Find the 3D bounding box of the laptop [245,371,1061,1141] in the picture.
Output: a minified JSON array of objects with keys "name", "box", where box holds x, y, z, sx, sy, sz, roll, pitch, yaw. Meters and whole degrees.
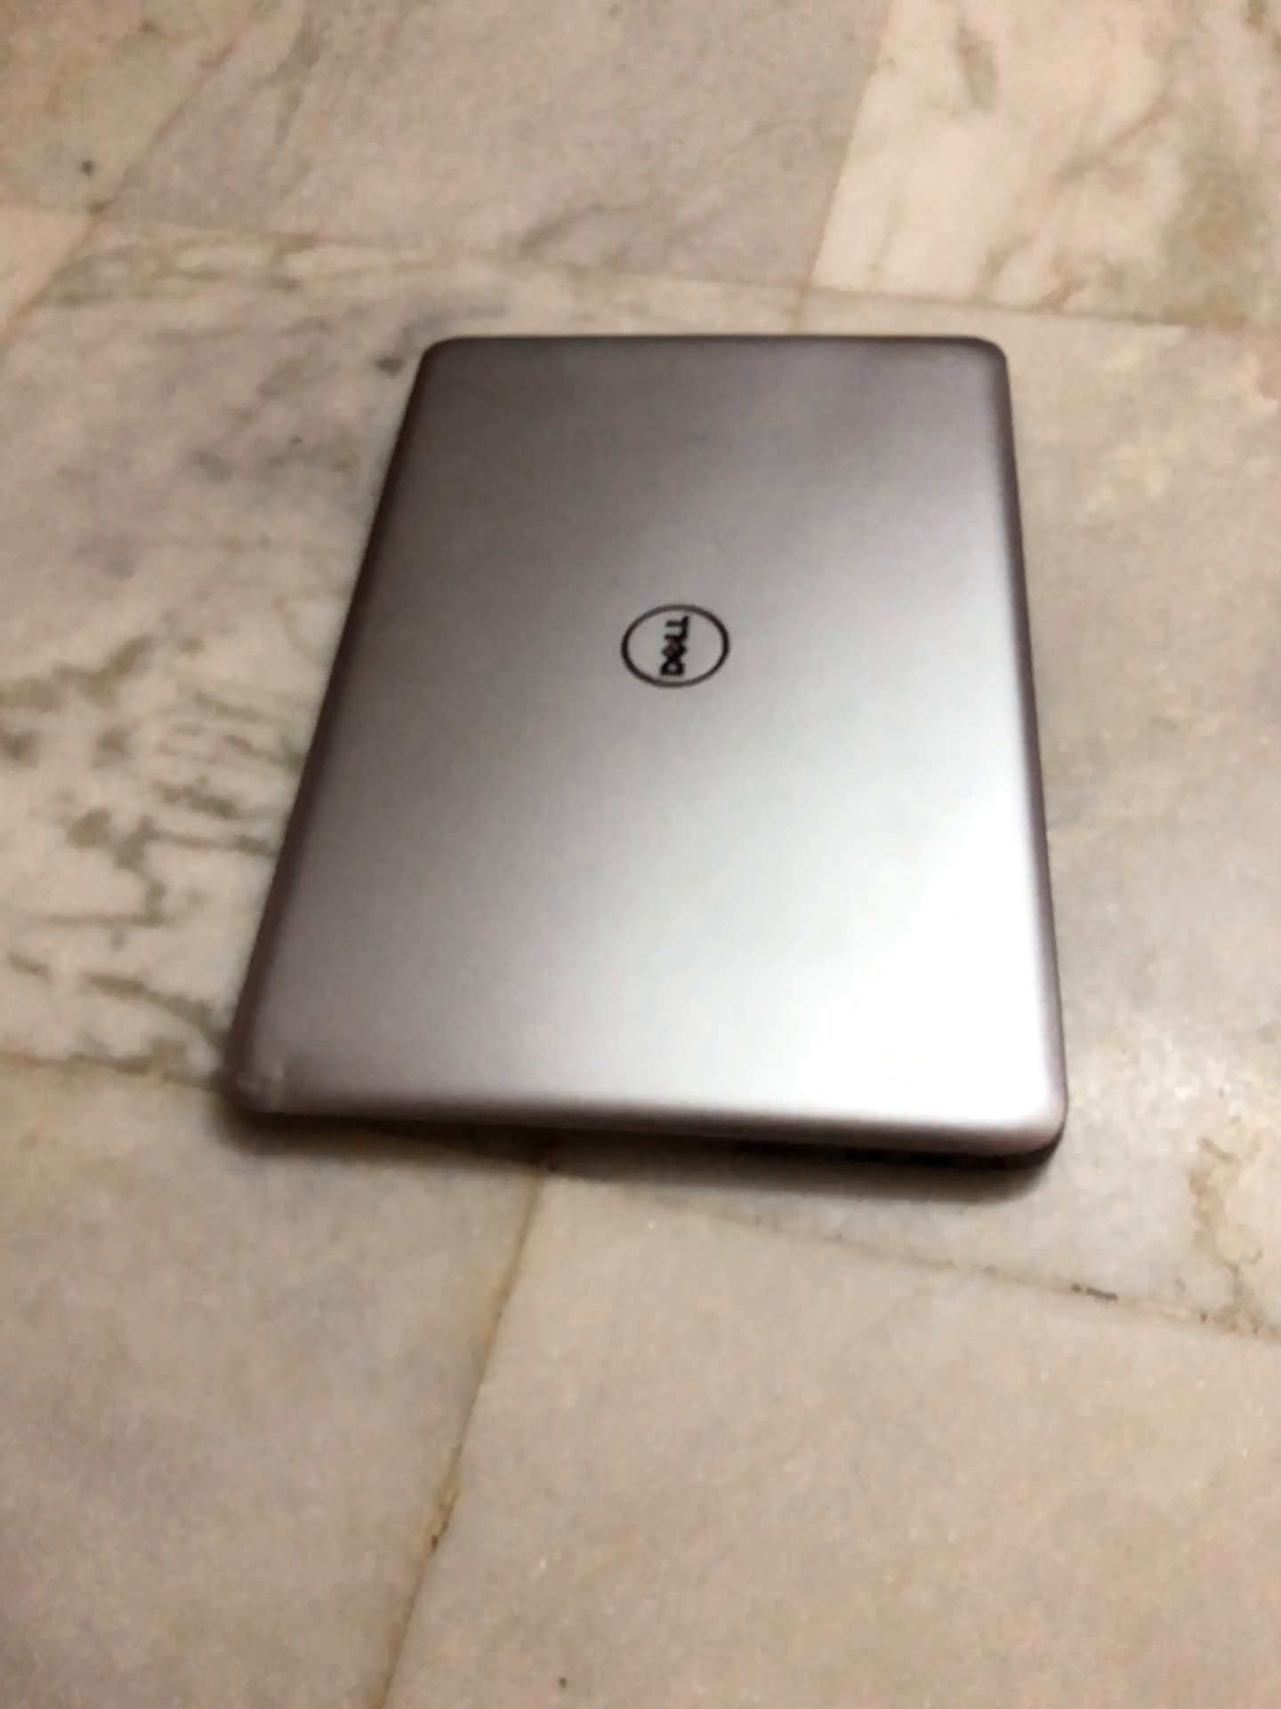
[{"name":"laptop","box":[0.015,-0.065,0.522,0.244,0.002,0.347,2,56,6]}]
